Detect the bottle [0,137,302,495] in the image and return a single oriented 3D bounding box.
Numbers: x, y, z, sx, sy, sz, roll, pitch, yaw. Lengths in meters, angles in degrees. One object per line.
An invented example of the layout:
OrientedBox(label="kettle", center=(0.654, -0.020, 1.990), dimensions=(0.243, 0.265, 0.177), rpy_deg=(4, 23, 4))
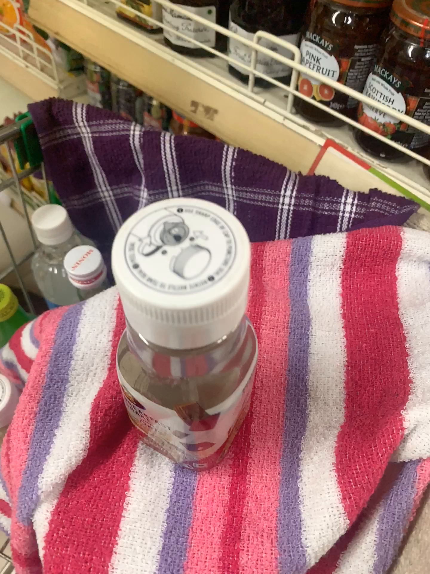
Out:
OrientedBox(label="bottle", center=(-0.017, 0.025, 0.171), dimensions=(0.060, 0.140, 0.050), rpy_deg=(26, 58, 16))
